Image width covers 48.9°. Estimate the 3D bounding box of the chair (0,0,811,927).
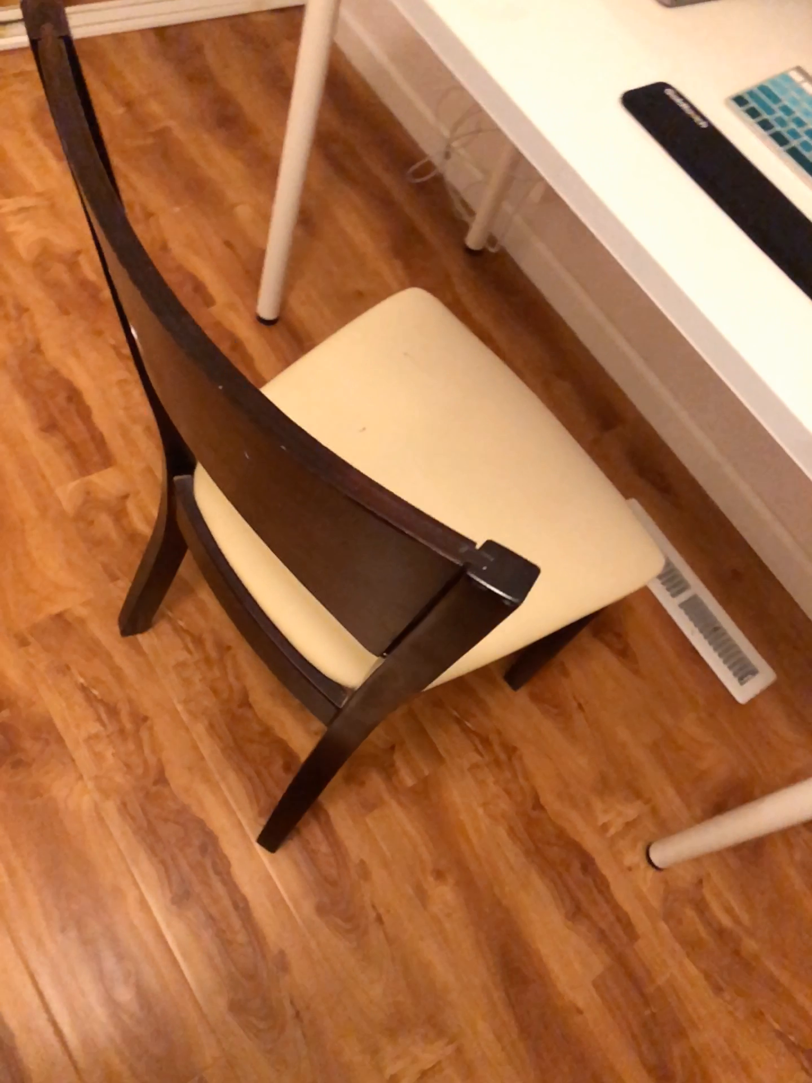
[{"bbox_3d":[0.002,-0.046,0.893,0.511,0.847,0.530,-33,75,-27],"label":"chair"}]
